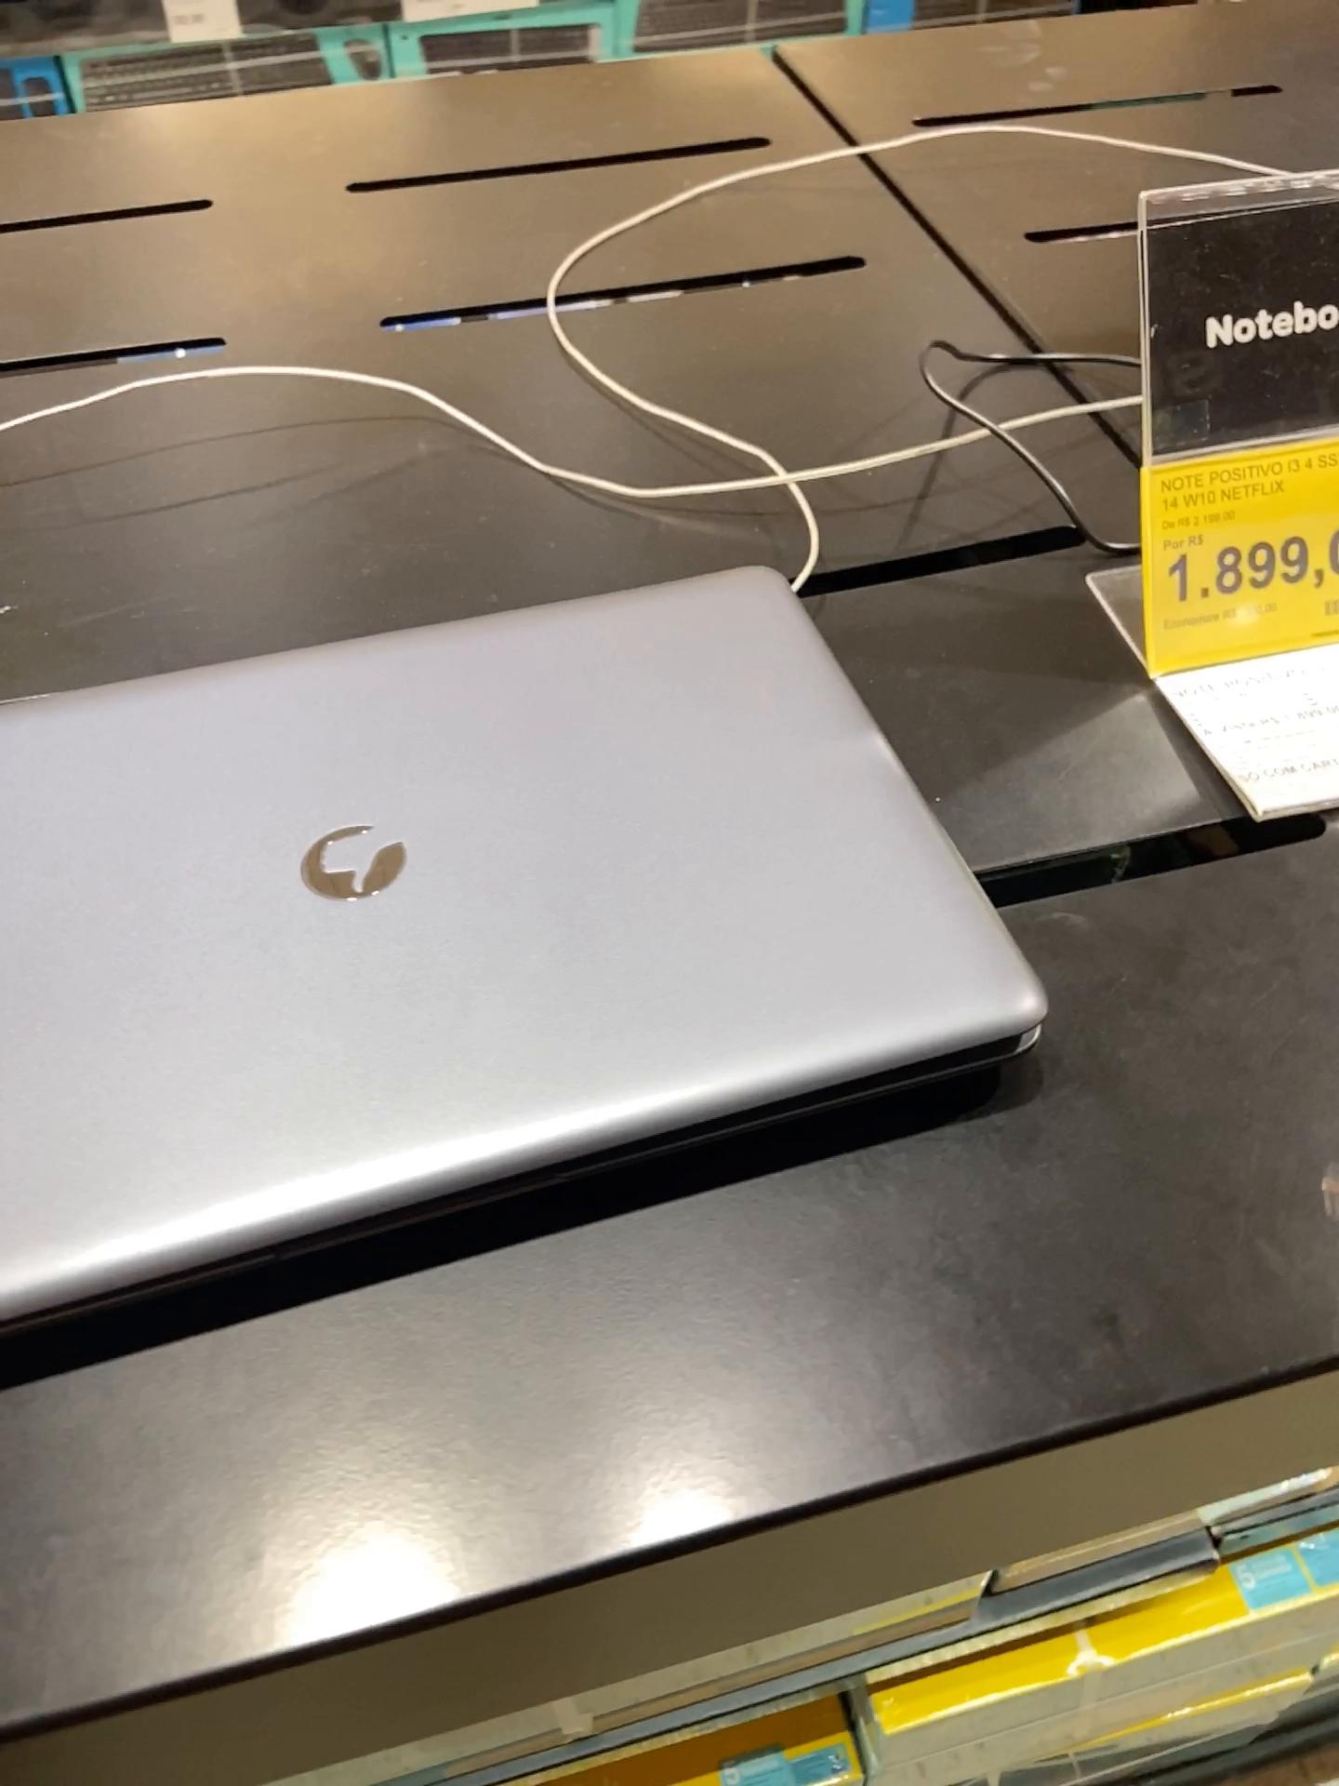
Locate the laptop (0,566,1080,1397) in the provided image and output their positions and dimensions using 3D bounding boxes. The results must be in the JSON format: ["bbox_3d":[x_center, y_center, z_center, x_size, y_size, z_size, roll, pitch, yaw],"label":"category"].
[{"bbox_3d":[-0.082,-0.005,0.392,0.329,0.001,0.213,-13,48,-10],"label":"laptop"}]
